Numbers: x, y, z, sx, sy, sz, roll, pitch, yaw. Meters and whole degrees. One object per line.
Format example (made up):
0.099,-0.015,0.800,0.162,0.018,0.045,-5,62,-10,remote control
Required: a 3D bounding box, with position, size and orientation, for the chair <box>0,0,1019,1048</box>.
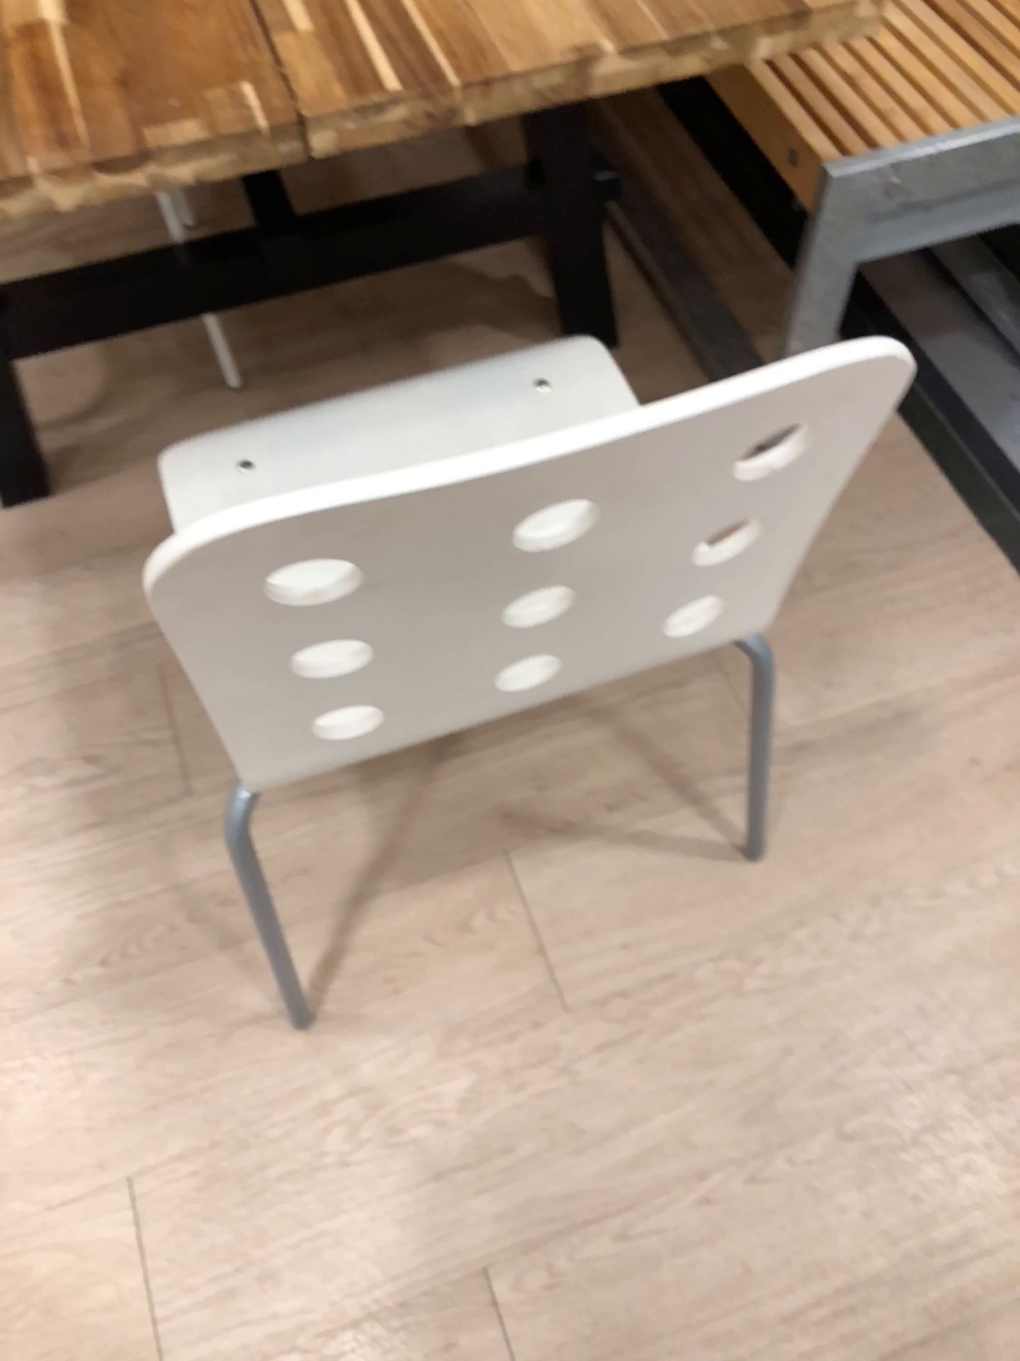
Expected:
-0.035,-0.120,0.960,0.570,0.717,0.492,-20,60,-11,chair
